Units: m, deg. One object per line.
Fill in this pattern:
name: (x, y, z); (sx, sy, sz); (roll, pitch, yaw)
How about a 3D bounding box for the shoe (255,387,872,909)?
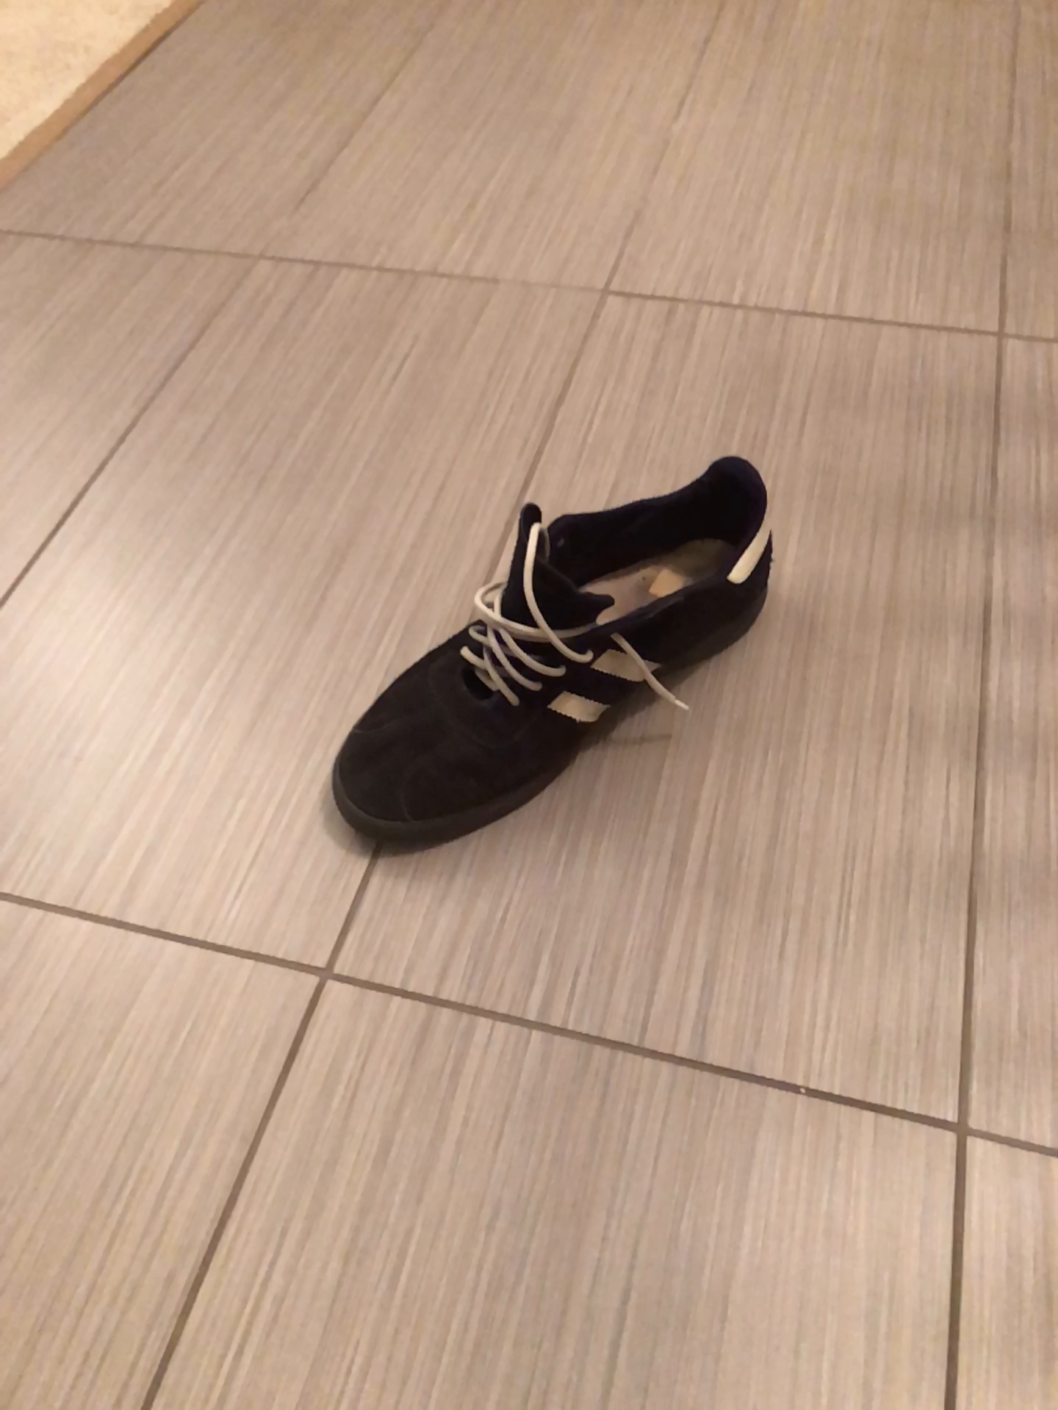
shoe: (0.027, -0.039, 0.641); (0.311, 0.119, 0.110); (-30, 55, -20)
